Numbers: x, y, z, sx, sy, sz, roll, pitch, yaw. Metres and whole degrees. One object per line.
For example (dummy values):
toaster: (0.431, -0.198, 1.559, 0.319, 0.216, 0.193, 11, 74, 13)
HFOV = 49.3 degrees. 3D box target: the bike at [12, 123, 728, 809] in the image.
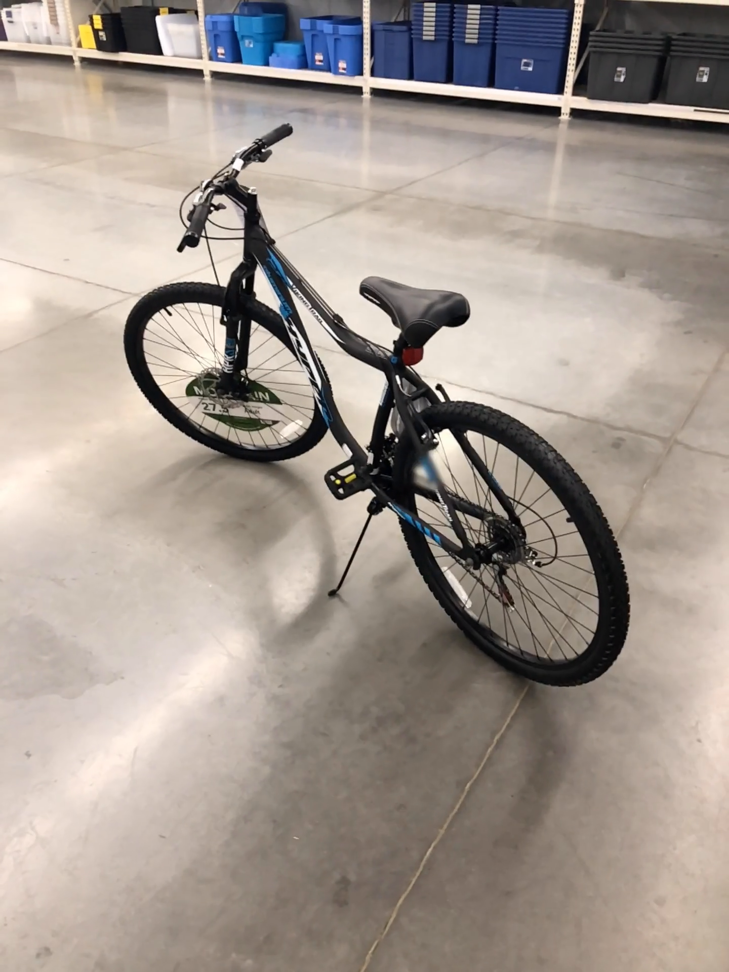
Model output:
bike: (-0.083, -0.213, 1.903, 1.639, 0.986, 0.573, 28, 42, 37)
